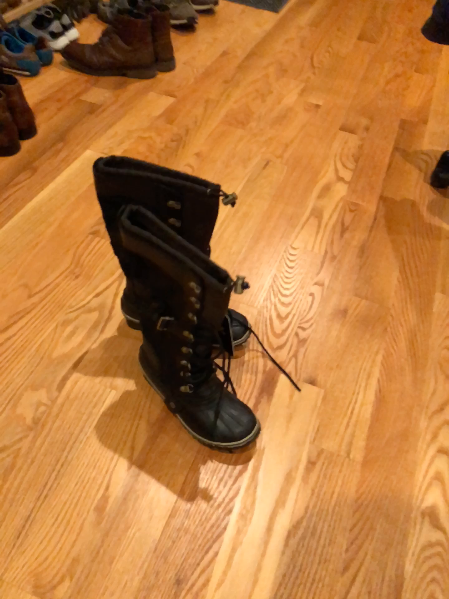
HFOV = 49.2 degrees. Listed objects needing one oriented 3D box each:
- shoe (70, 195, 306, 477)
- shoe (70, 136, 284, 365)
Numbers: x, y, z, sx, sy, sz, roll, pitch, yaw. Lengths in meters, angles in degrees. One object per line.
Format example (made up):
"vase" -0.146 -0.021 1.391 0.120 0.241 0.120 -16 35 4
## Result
"shoe" -0.059 0.062 0.666 0.260 0.308 0.100 31 52 20
"shoe" -0.070 -0.056 0.757 0.260 0.328 0.100 10 48 2
